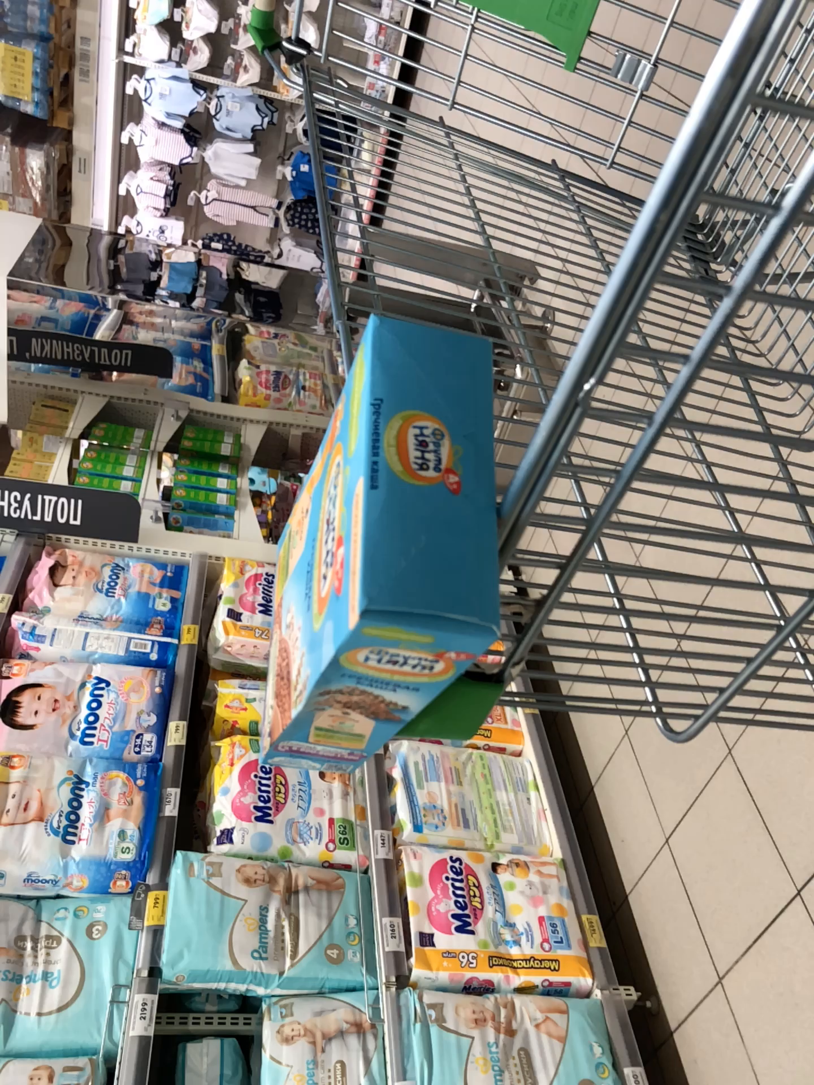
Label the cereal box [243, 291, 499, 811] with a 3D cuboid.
[{"bbox_3d":[-0.025,0.021,0.398,0.211,0.050,0.150,124,151,-58],"label":"cereal box"}]
